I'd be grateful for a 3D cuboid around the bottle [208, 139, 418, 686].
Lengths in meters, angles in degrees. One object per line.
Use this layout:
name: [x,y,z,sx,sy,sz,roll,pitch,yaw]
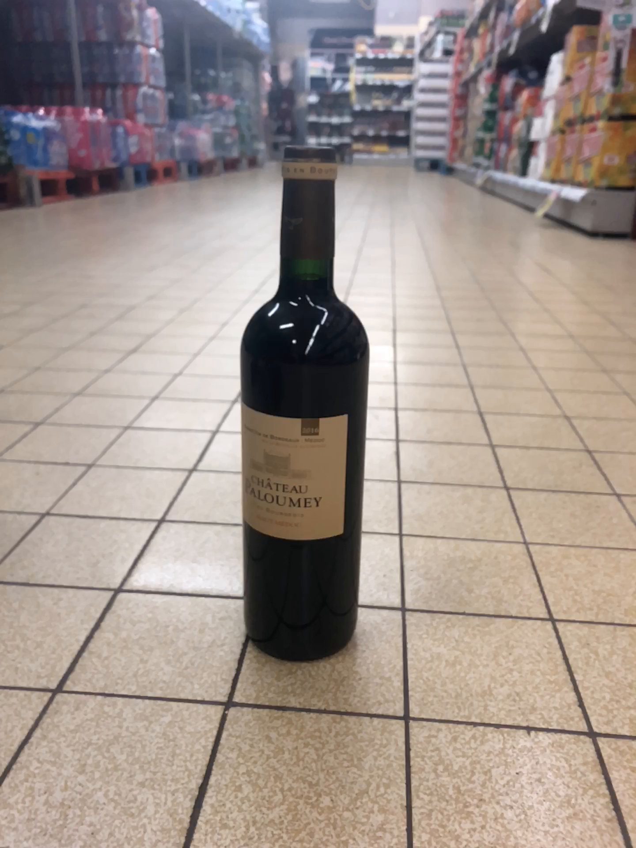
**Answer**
bottle: [-0.001,-0.006,0.406,0.080,0.289,0.091,8,21,18]
